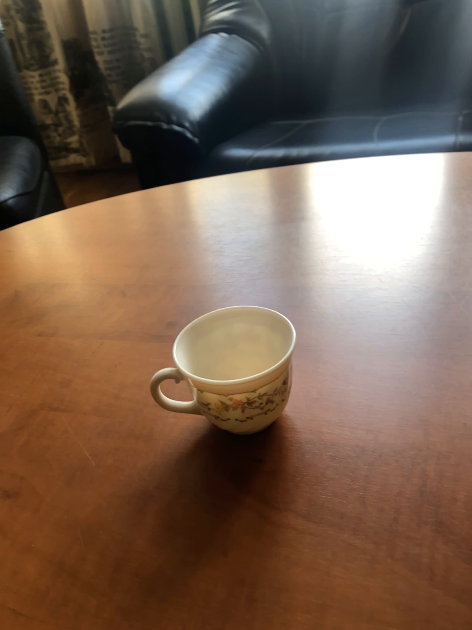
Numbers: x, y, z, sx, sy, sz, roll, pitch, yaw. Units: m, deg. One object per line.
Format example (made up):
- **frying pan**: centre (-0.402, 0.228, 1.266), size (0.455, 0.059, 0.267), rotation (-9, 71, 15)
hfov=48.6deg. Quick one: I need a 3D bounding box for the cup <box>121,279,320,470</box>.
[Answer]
- **cup**: centre (-0.010, 0.027, 0.265), size (0.083, 0.048, 0.063), rotation (-14, 34, -6)
